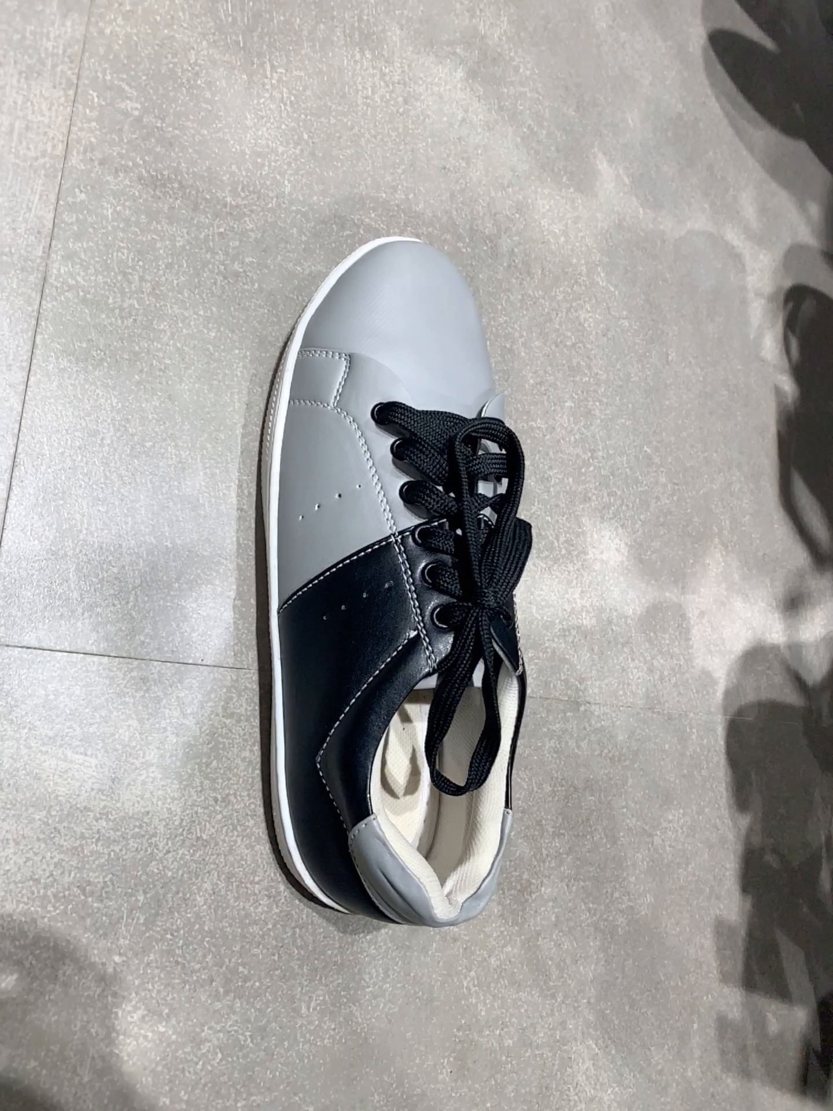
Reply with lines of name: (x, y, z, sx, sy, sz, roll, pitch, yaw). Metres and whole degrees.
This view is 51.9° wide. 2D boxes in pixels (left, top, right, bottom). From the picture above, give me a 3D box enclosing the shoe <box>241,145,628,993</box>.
shoe: (0.003, 0.004, 0.326, 0.102, 0.093, 0.263, 7, 77, -31)
